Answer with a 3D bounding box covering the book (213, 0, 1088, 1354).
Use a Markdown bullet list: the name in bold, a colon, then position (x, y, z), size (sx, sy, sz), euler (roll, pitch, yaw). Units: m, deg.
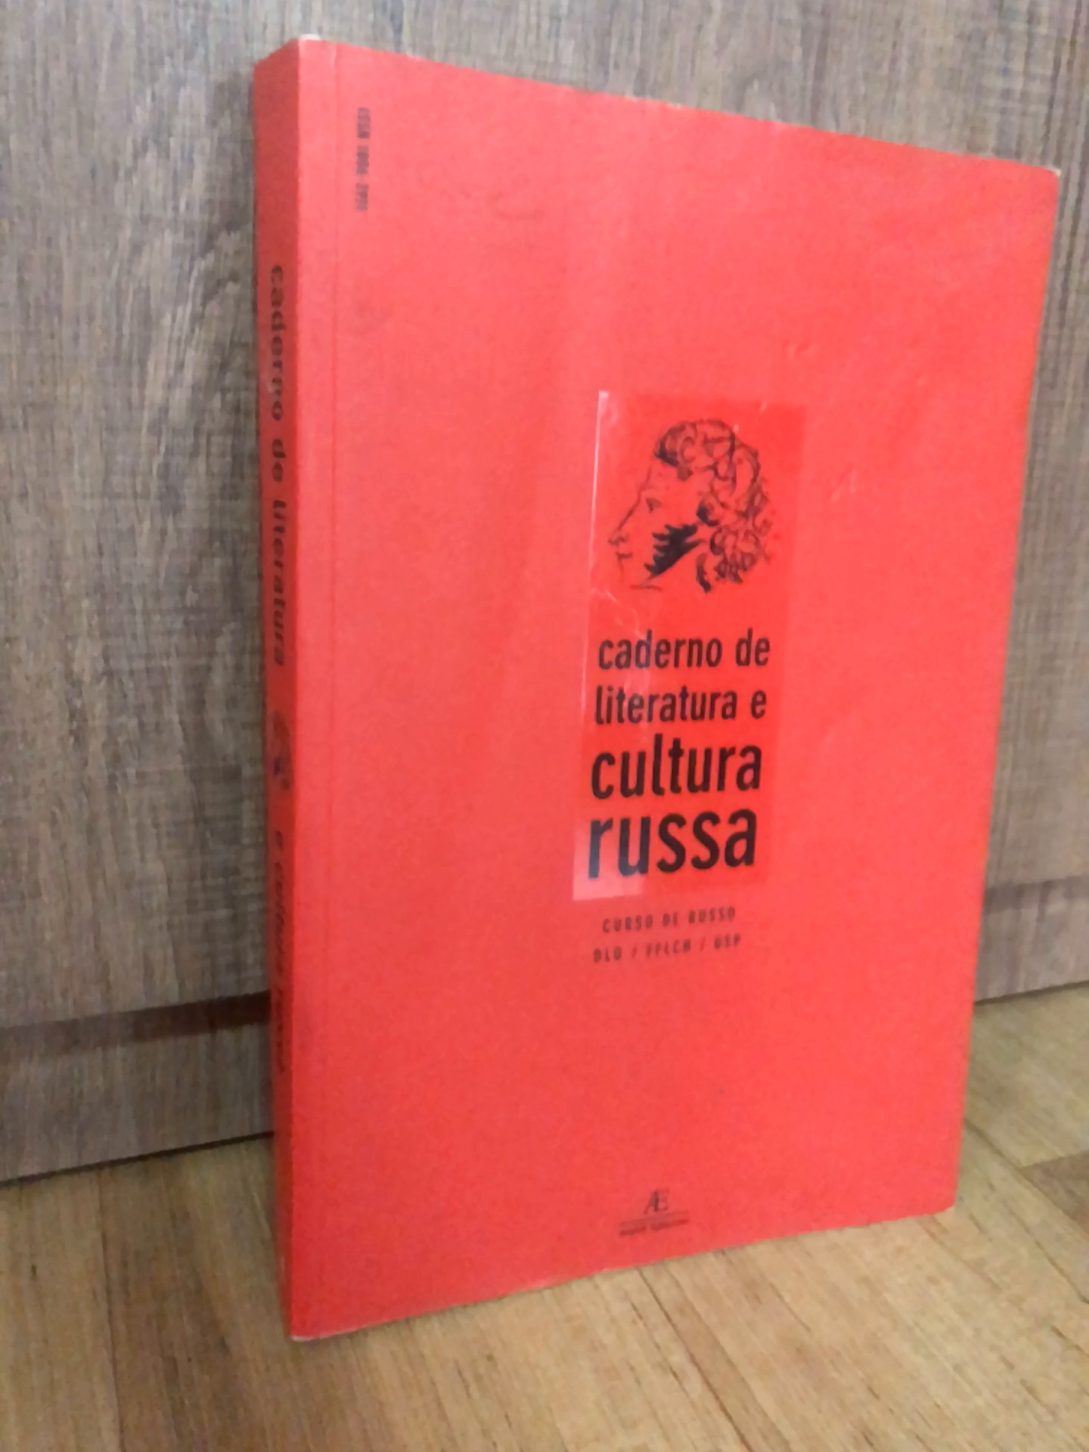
- **book**: position (0.028, -0.004, 0.268), size (0.187, 0.249, 0.040), euler (-2, 12, -20)
